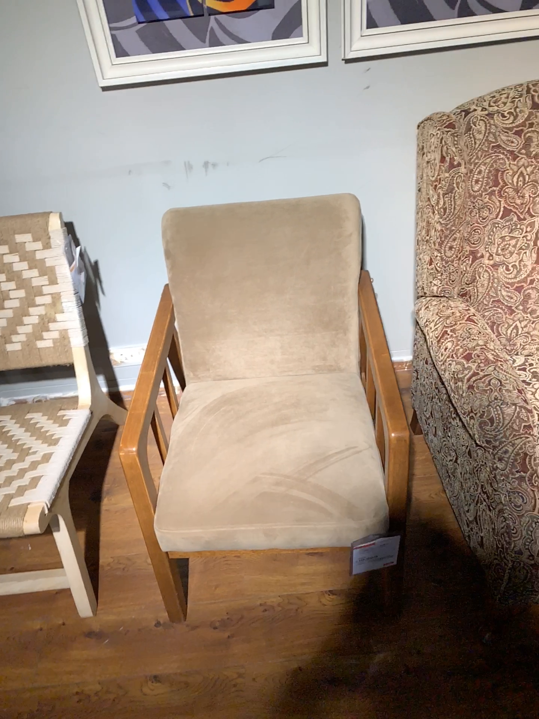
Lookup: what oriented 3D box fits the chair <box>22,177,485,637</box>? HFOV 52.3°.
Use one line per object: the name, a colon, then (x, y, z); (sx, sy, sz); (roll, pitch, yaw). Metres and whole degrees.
chair: (-0.004, 0.087, 1.418); (0.720, 0.737, 0.874); (-4, 39, 3)
